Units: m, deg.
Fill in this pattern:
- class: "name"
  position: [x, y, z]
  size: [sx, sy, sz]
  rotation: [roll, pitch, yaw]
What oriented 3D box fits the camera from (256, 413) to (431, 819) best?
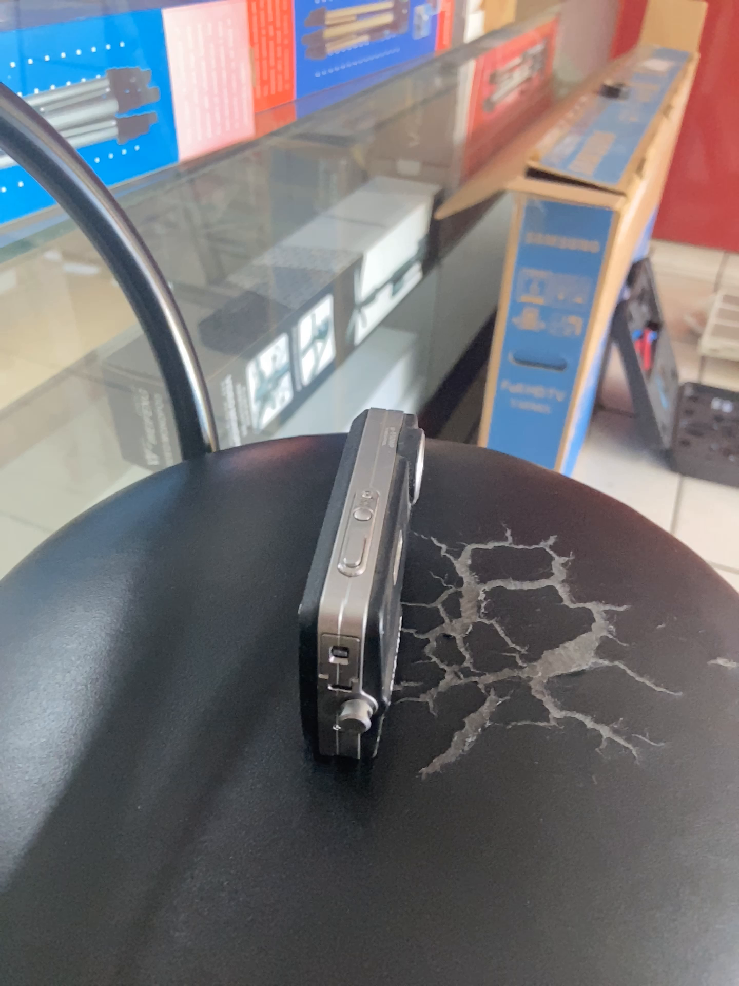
- class: "camera"
  position: [-0.004, 0.030, 0.225]
  size: [0.030, 0.060, 0.101]
  rotation: [7, 38, 6]
